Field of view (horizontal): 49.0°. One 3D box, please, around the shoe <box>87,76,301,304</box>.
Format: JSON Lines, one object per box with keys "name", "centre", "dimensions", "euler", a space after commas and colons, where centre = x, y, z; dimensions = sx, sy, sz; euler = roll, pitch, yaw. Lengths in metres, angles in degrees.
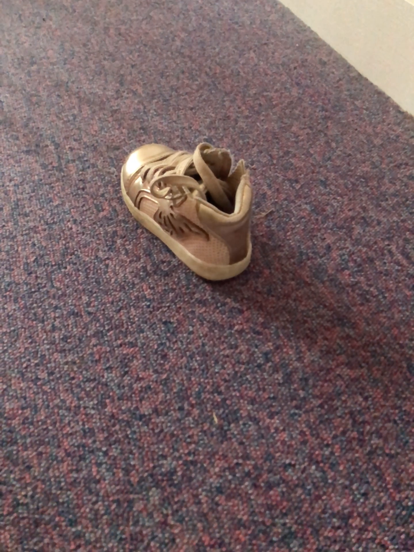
{"name": "shoe", "centre": [-0.014, -0.071, 0.346], "dimensions": [0.080, 0.080, 0.150], "euler": [-28, 56, -20]}
